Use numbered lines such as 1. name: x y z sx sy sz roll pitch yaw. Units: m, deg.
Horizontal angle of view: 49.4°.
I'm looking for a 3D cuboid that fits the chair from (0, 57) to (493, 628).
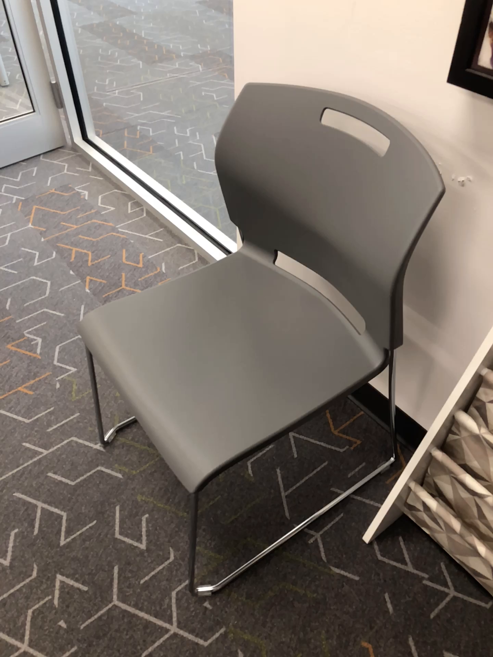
1. chair: -0.006 0.001 1.065 0.671 0.735 0.583 -27 51 -25
